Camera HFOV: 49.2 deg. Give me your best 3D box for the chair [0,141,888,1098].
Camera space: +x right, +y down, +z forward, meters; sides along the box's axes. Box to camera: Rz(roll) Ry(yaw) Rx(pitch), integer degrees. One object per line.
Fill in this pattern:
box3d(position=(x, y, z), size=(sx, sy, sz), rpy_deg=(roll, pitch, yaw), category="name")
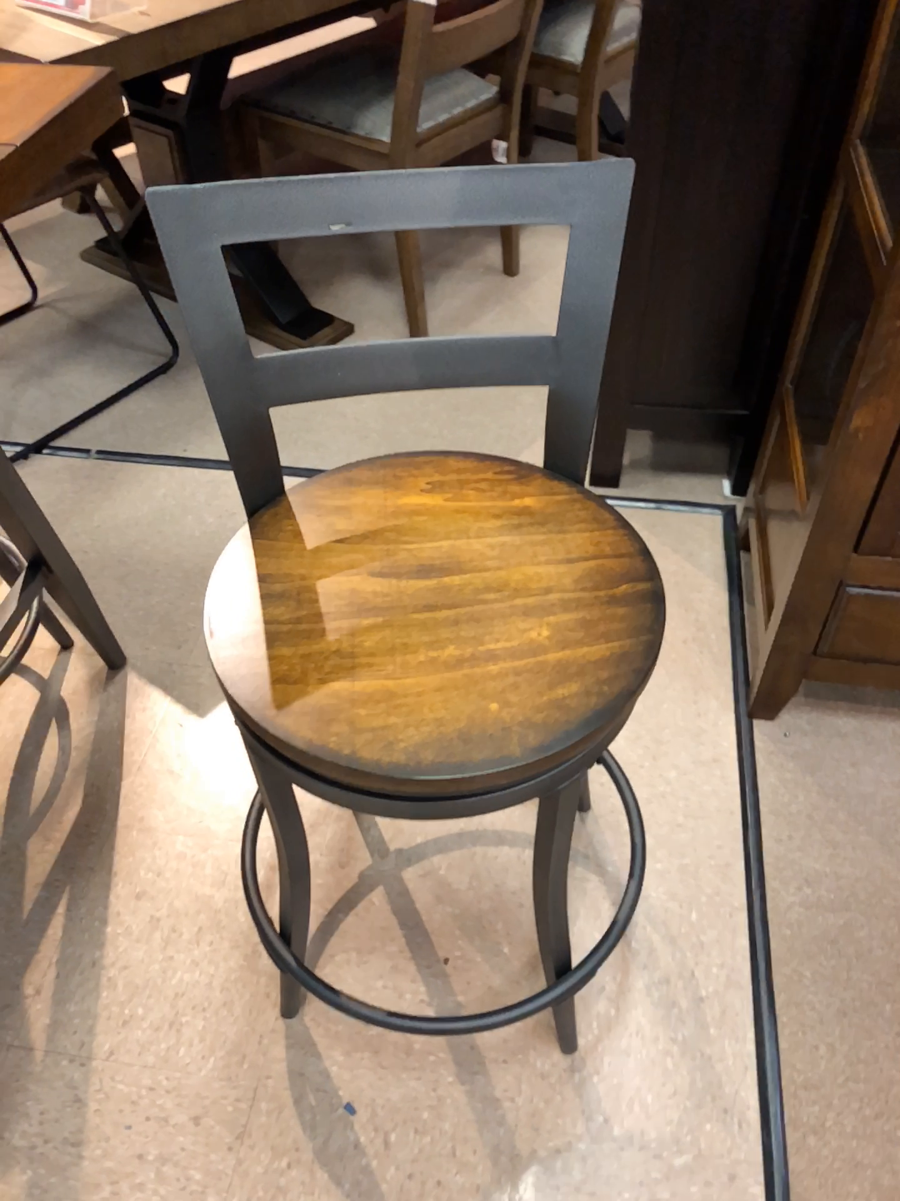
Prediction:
box3d(position=(-0.029, 0.069, 0.959), size=(0.490, 0.805, 0.463), rpy_deg=(-5, 45, -4), category="chair")
